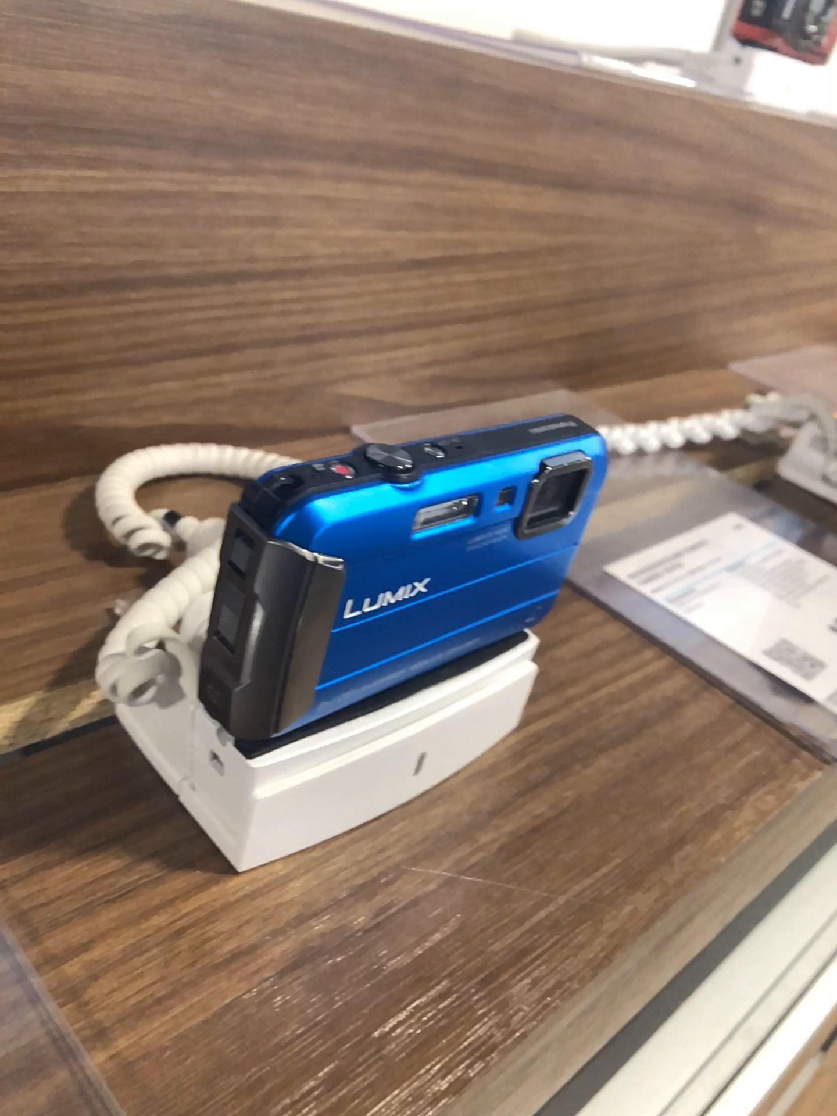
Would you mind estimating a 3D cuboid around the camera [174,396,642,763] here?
[{"bbox_3d":[0.001,-0.001,0.198,0.101,0.051,0.023,-18,47,-43],"label":"camera"}]
